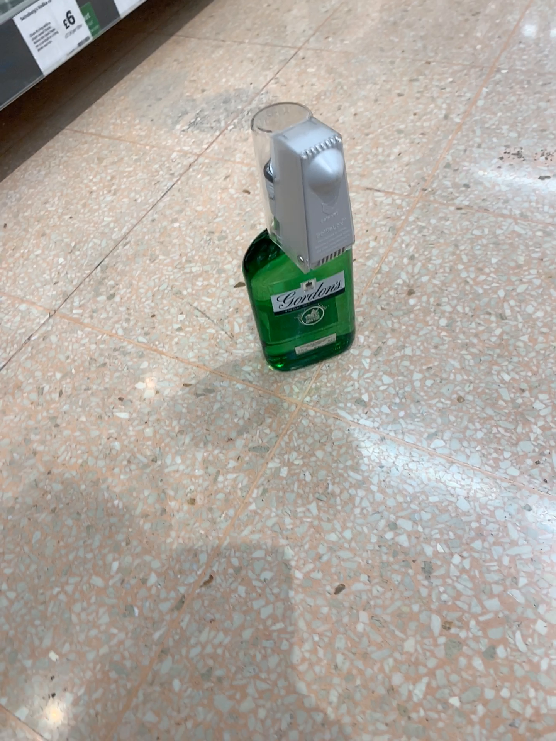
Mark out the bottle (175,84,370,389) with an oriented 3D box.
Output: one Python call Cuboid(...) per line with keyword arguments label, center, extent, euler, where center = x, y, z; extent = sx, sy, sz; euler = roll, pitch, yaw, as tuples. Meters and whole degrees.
Cuboid(label="bottle", center=(0.007, -0.083, 0.420), extent=(0.102, 0.203, 0.056), euler=(-20, 52, -5))
